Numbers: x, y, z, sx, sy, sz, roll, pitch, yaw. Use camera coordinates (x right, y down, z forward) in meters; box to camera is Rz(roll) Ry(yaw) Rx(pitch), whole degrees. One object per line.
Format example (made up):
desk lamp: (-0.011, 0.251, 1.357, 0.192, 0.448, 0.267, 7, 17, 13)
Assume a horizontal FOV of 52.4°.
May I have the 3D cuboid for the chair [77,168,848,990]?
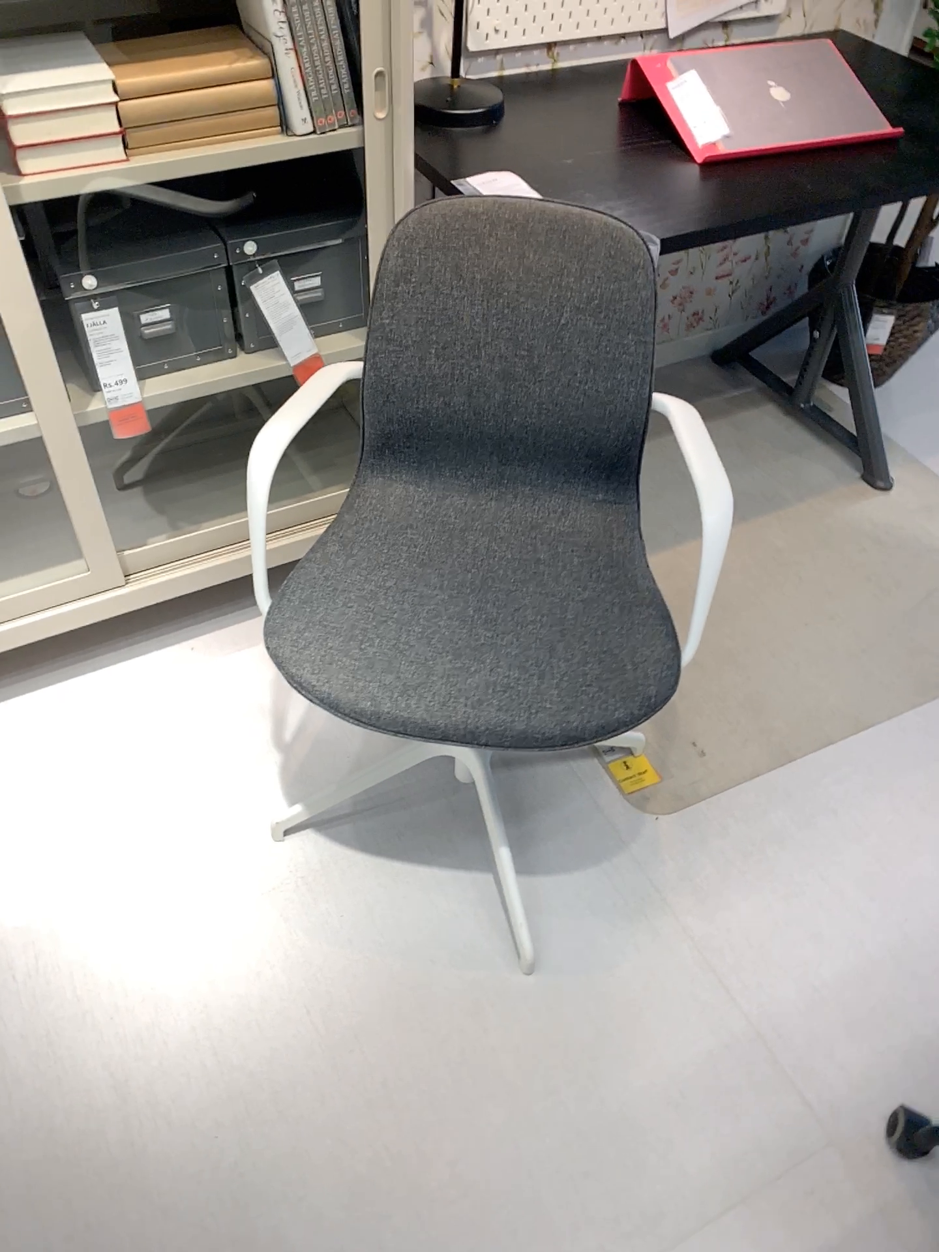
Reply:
chair: (0.006, -0.031, 1.287, 0.620, 0.837, 0.642, 6, 47, 2)
